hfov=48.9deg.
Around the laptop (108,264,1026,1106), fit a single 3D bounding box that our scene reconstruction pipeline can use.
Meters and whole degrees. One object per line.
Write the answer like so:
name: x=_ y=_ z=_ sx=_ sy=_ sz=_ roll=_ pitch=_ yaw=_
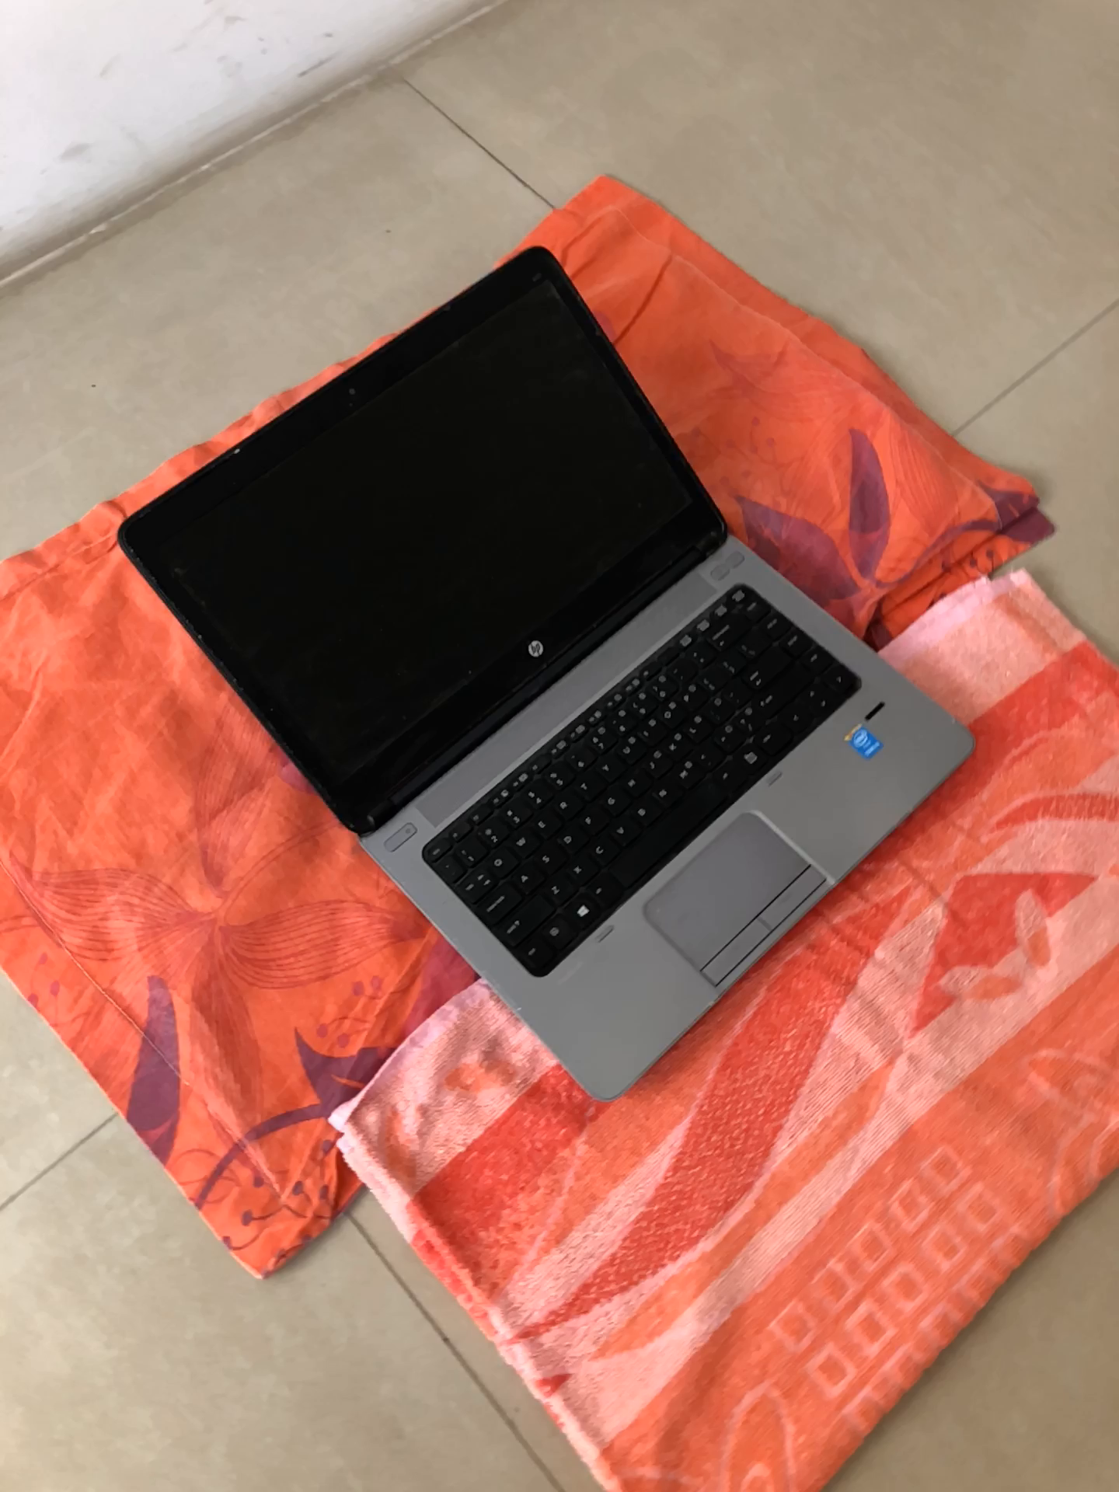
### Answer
laptop: x=-0.002 y=-0.059 z=0.747 sx=0.329 sy=0.111 sz=0.410 roll=-40 pitch=71 yaw=-18
